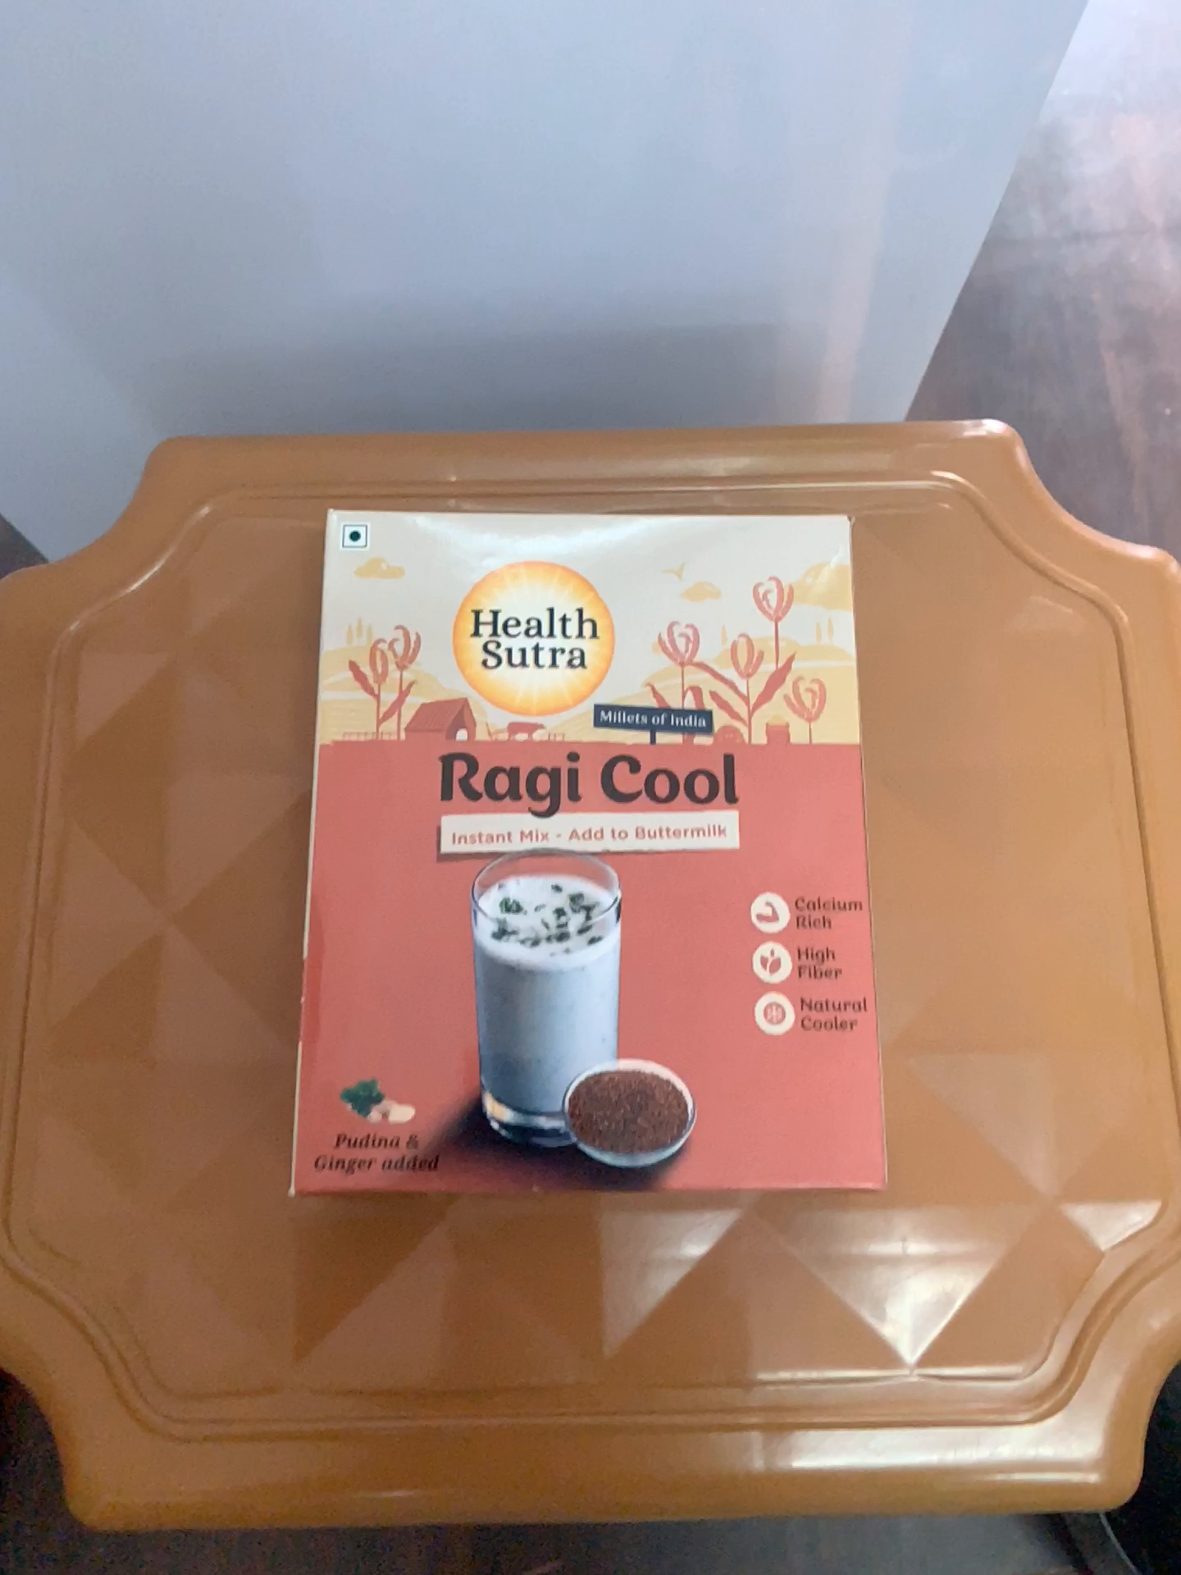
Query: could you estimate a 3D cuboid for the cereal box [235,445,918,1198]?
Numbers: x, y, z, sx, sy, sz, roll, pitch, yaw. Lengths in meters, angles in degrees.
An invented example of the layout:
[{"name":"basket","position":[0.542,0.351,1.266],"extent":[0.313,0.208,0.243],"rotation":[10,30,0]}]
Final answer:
[{"name":"cereal box","position":[-0.004,0.006,0.291],"extent":[0.140,0.040,0.170],"rotation":[0,76,0]}]
